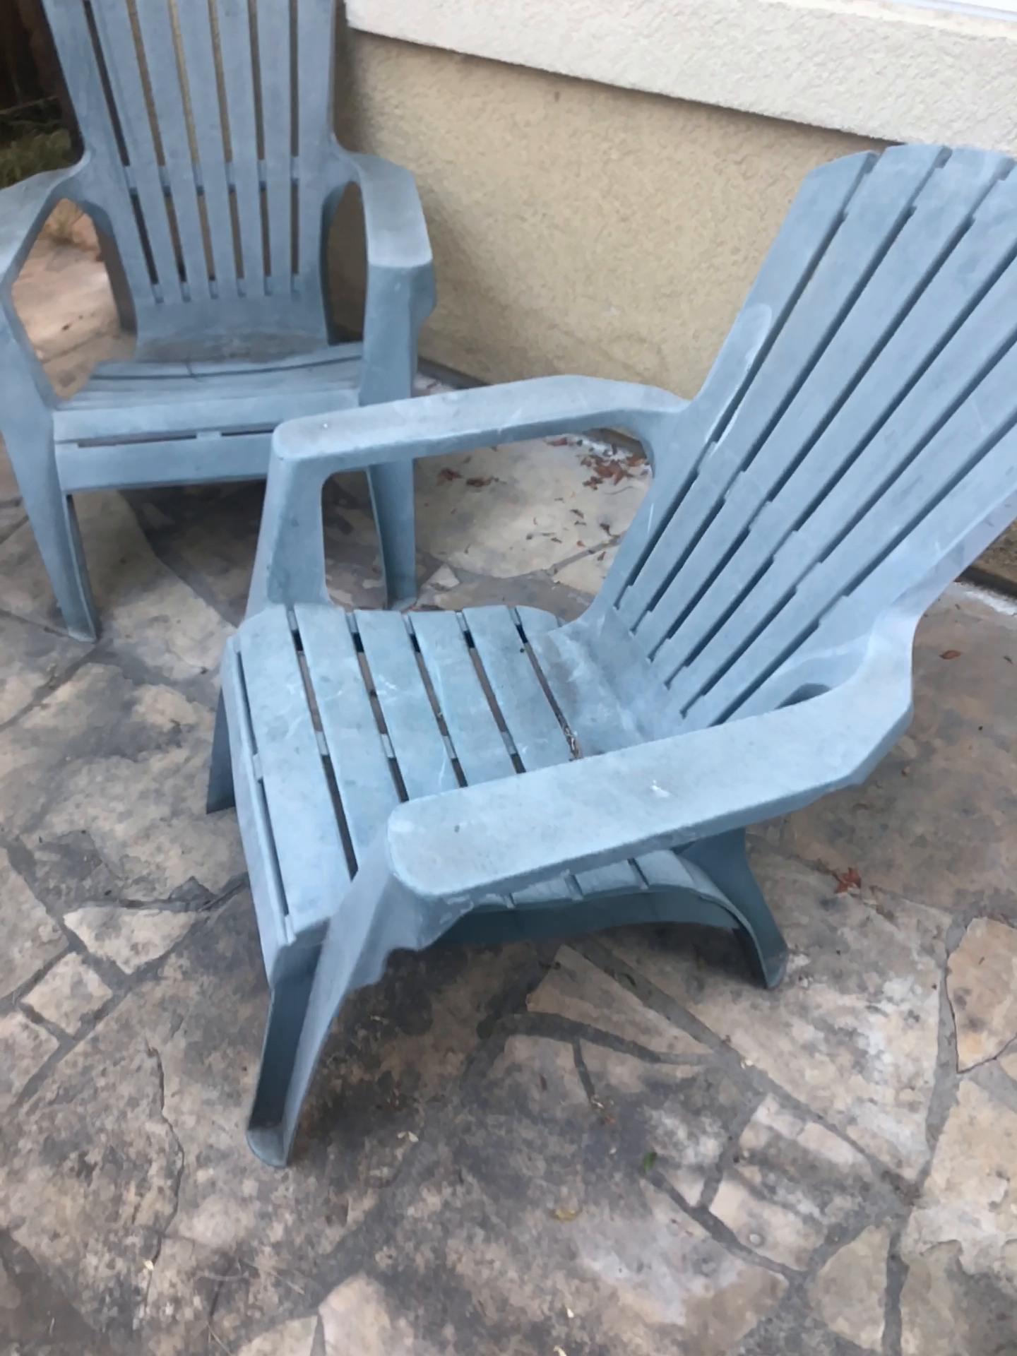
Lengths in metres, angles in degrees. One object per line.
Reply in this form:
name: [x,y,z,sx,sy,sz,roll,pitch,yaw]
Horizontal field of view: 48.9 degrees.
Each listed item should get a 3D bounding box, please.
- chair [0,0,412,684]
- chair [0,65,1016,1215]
chair: [-0.621,-0.783,2.158,0.741,1.220,0.917,-5,35,-7]
chair: [0.044,-0.081,1.215,0.922,0.882,0.695,-9,43,-15]
